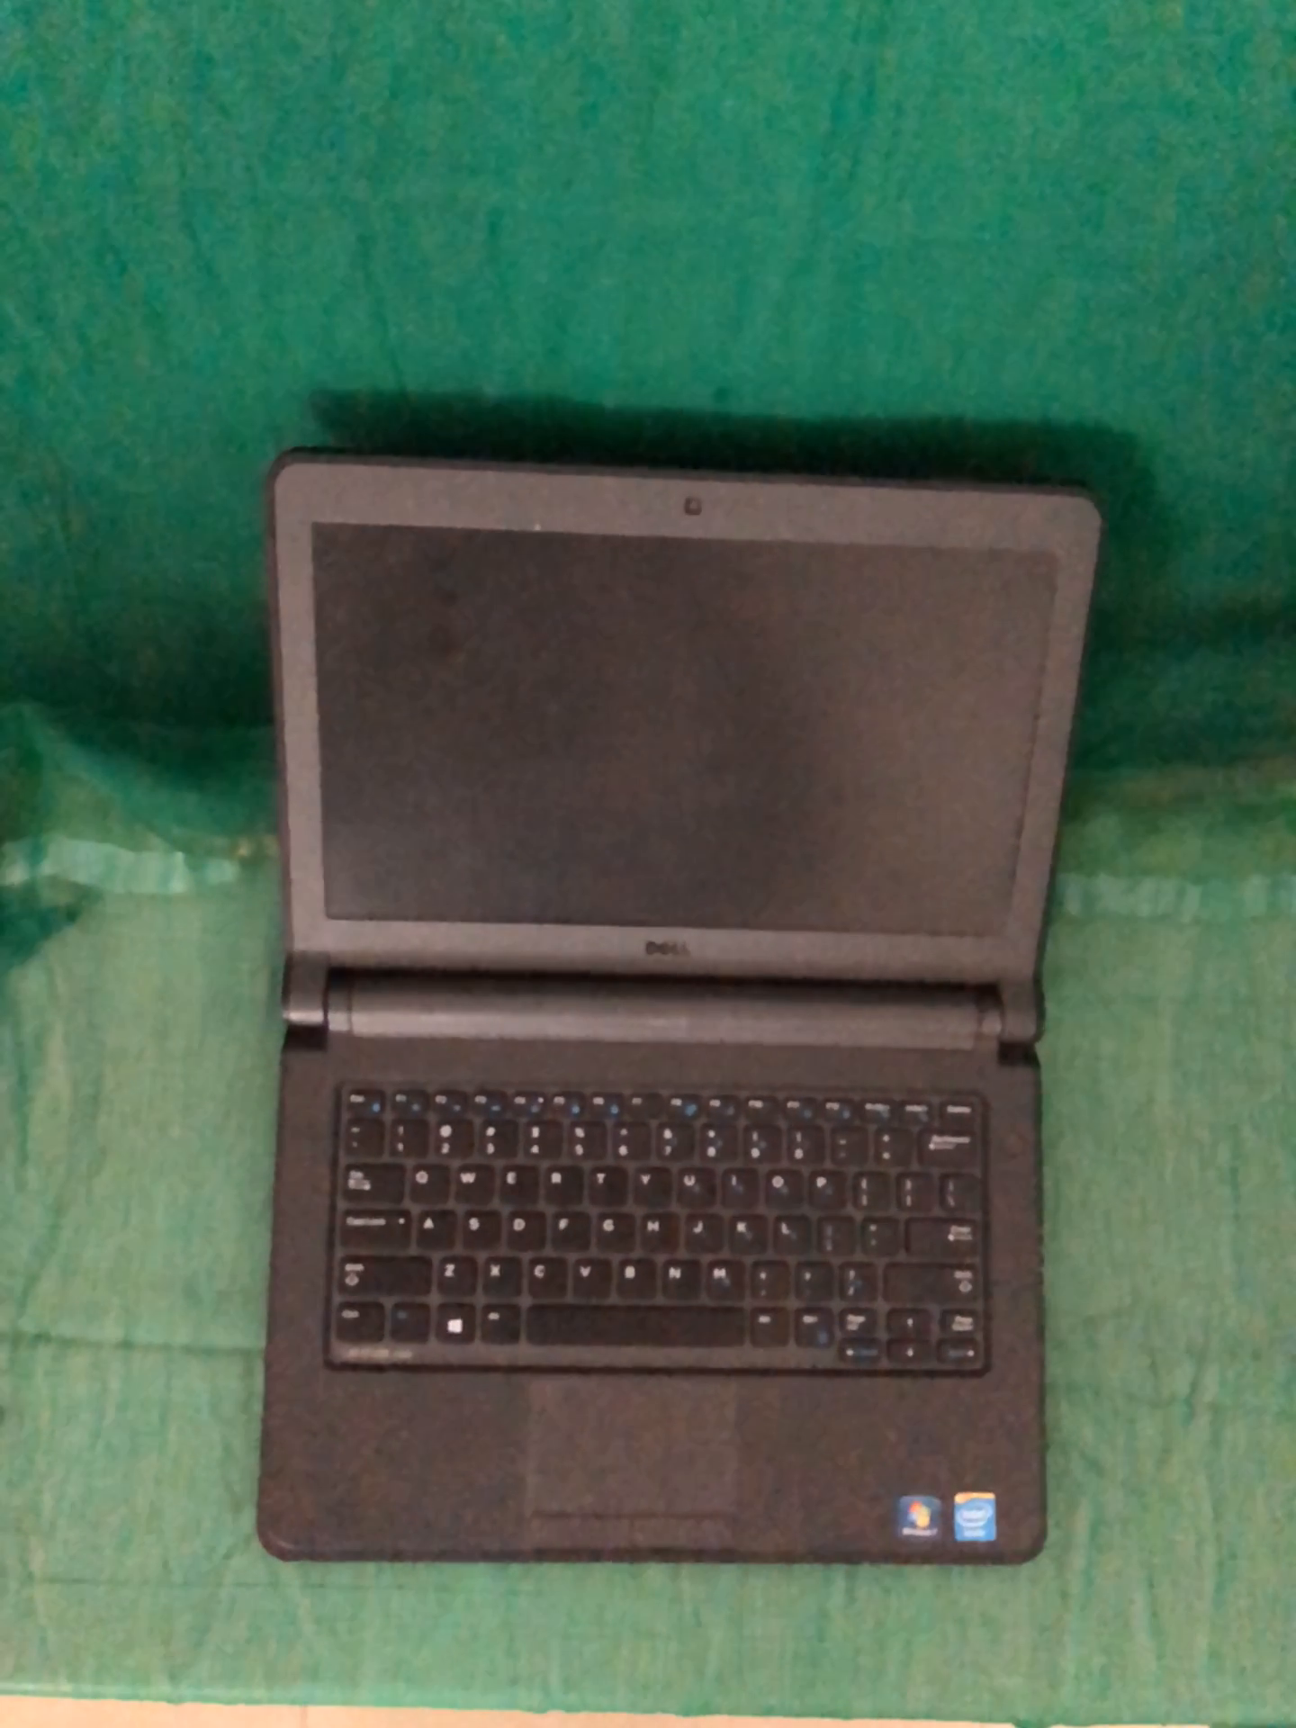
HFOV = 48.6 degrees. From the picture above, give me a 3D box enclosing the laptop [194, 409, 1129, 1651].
[{"bbox_3d":[0.010,0.061,0.543,0.311,0.096,0.420,2,84,-3],"label":"laptop"}]
